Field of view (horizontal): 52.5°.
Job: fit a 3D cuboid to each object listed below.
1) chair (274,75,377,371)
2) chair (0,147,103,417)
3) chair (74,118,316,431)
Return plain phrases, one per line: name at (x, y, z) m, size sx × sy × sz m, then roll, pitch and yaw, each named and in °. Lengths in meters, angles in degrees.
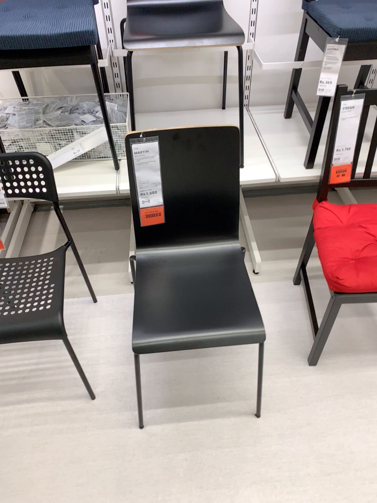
chair at (0.621, -0.048, 1.278) m, size 0.450 × 0.857 × 0.482 m, roll -3°, pitch 45°, yaw -2°
chair at (-0.608, 0.123, 1.296) m, size 0.470 × 0.727 × 0.532 m, roll -4°, pitch 45°, yaw -3°
chair at (-0.002, 0.104, 1.254) m, size 0.480 × 0.827 × 0.592 m, roll -4°, pitch 45°, yaw -3°
